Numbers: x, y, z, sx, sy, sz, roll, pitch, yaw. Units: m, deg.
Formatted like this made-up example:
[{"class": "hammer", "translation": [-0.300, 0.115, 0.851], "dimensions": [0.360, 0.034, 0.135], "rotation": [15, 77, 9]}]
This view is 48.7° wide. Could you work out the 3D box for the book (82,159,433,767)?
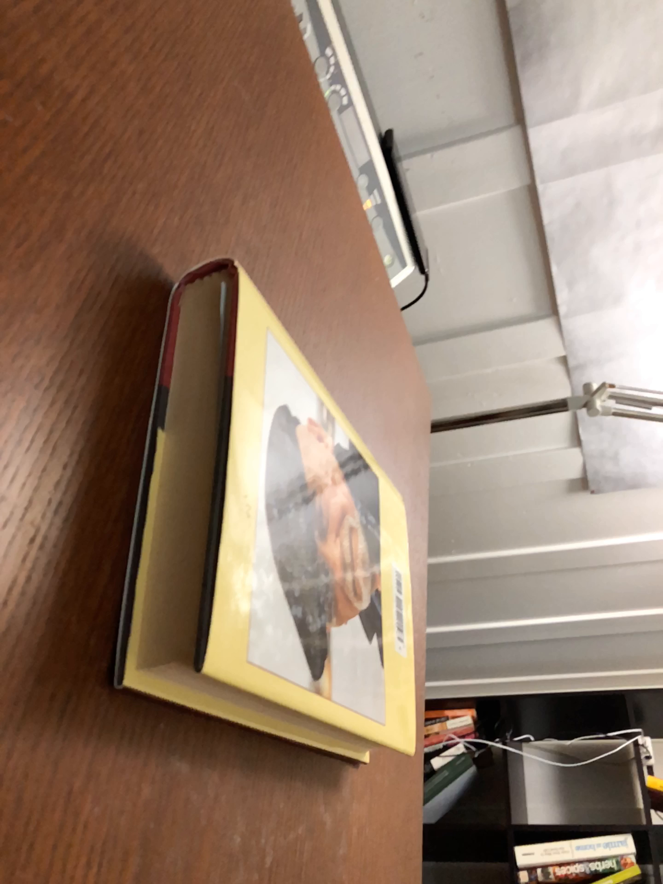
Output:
[{"class": "book", "translation": [-0.005, 0.035, 0.339], "dimensions": [0.251, 0.030, 0.190], "rotation": [51, 34, -54]}]
